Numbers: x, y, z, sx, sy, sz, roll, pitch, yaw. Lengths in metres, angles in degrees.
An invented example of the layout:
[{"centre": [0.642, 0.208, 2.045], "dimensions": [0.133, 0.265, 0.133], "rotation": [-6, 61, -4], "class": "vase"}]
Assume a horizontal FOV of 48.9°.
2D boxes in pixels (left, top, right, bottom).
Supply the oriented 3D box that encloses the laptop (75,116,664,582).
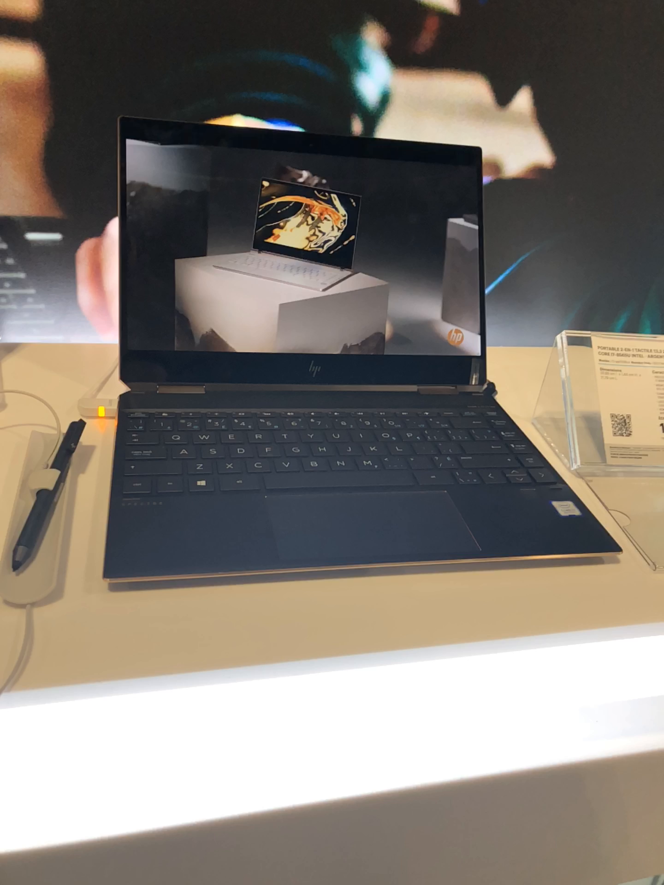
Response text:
[{"centre": [0.005, -0.096, 0.507], "dimensions": [0.305, 0.172, 0.347], "rotation": [-1, 31, -13], "class": "laptop"}]
